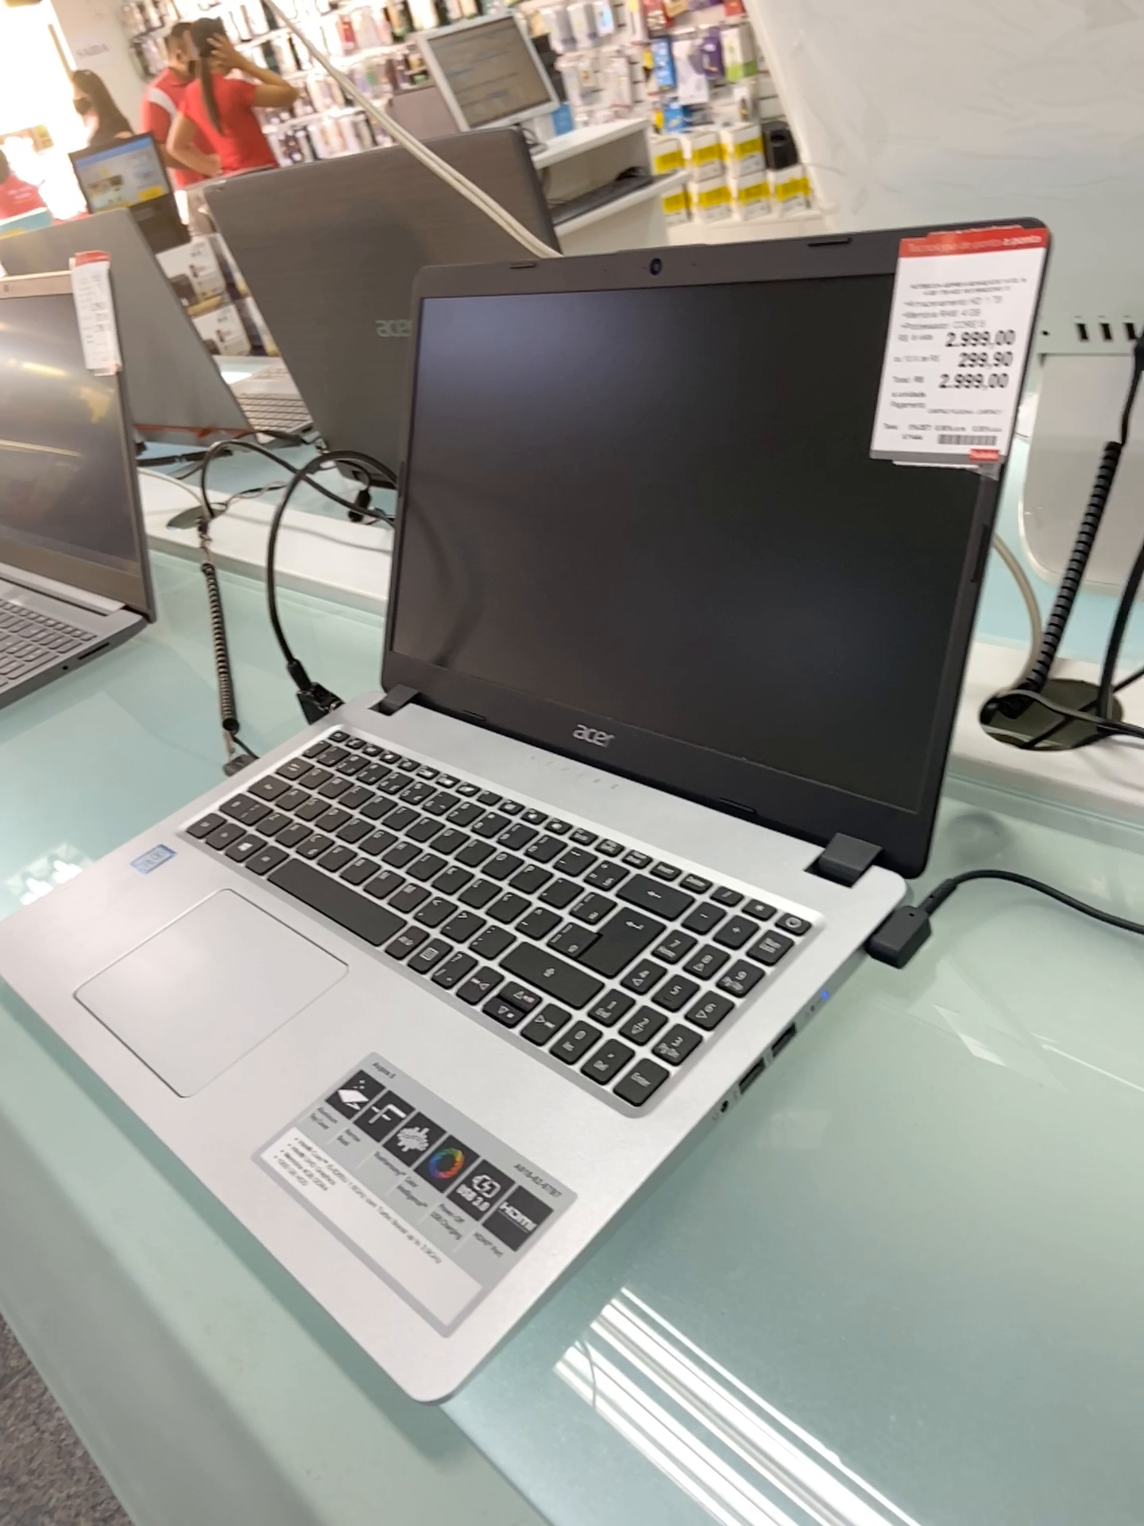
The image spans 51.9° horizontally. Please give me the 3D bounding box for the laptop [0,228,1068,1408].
[{"bbox_3d":[-0.064,-0.045,0.486,0.365,0.204,0.366,-37,37,-30],"label":"laptop"}]
